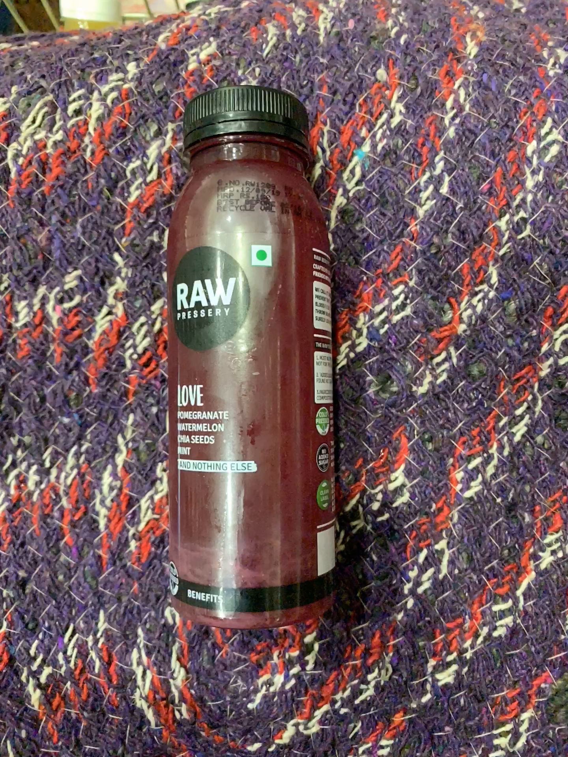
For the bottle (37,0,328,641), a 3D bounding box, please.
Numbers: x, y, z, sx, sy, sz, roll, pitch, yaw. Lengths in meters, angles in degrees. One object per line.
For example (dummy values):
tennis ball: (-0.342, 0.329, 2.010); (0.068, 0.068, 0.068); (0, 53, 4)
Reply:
bottle: (-0.028, -0.023, 0.179); (0.060, 0.060, 0.170); (-3, 86, 27)
